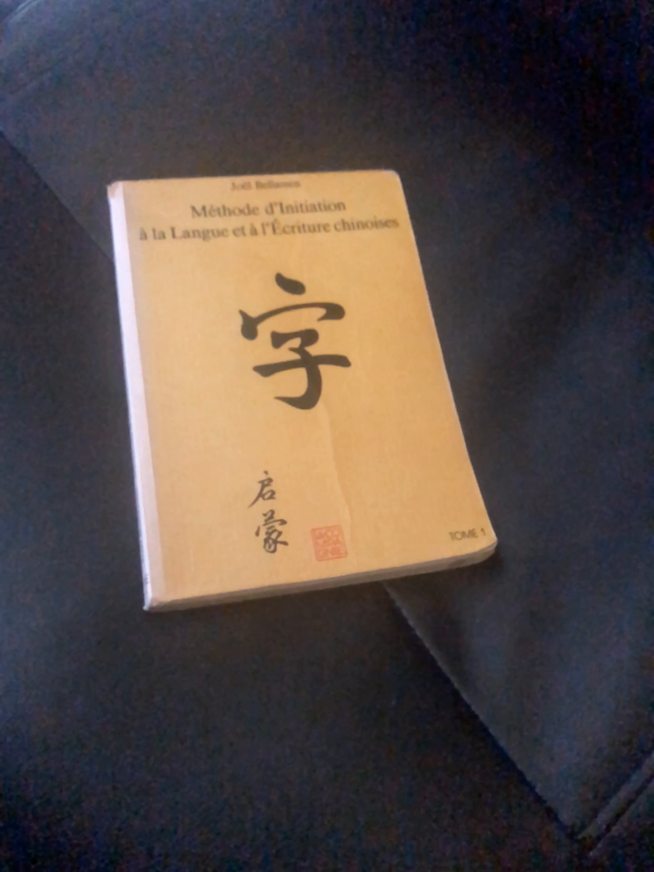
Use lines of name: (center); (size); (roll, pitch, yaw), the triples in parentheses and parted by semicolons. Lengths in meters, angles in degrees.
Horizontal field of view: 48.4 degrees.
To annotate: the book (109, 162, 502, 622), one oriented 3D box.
book: (-0.020, -0.035, 0.353); (0.152, 0.028, 0.220); (-6, 67, -9)
